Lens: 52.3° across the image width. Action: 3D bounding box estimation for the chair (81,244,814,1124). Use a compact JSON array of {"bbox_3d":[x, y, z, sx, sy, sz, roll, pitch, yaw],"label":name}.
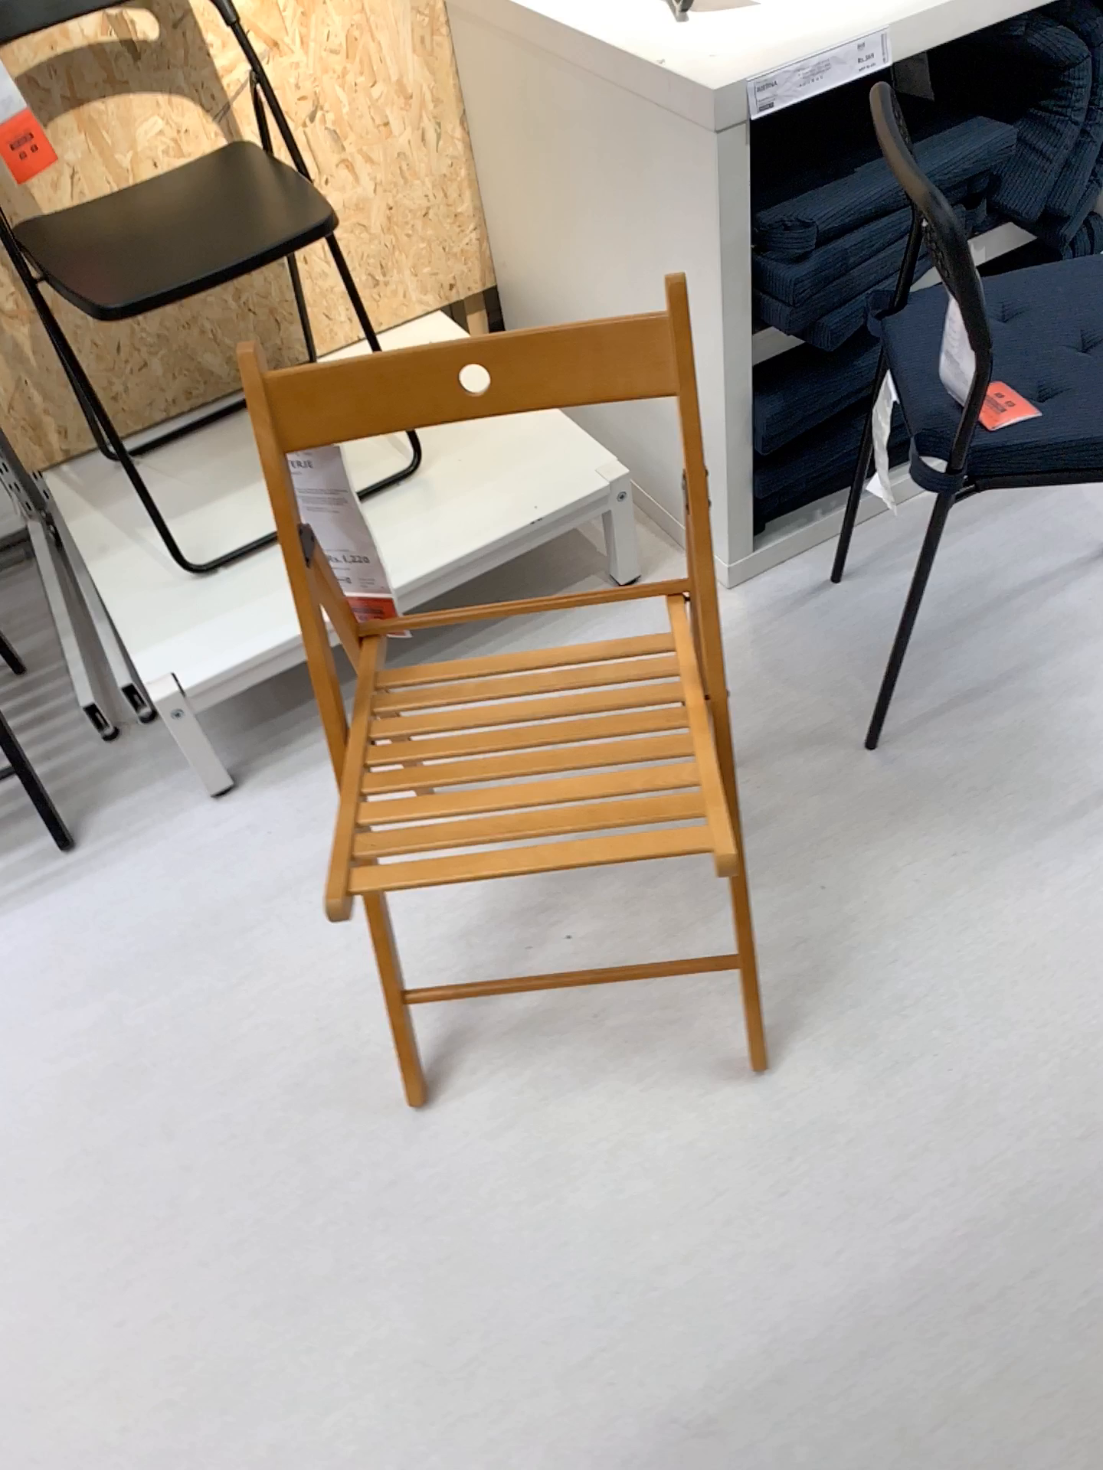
[{"bbox_3d":[-0.043,-0.021,1.214,0.510,0.697,0.562,-8,48,4],"label":"chair"}]
